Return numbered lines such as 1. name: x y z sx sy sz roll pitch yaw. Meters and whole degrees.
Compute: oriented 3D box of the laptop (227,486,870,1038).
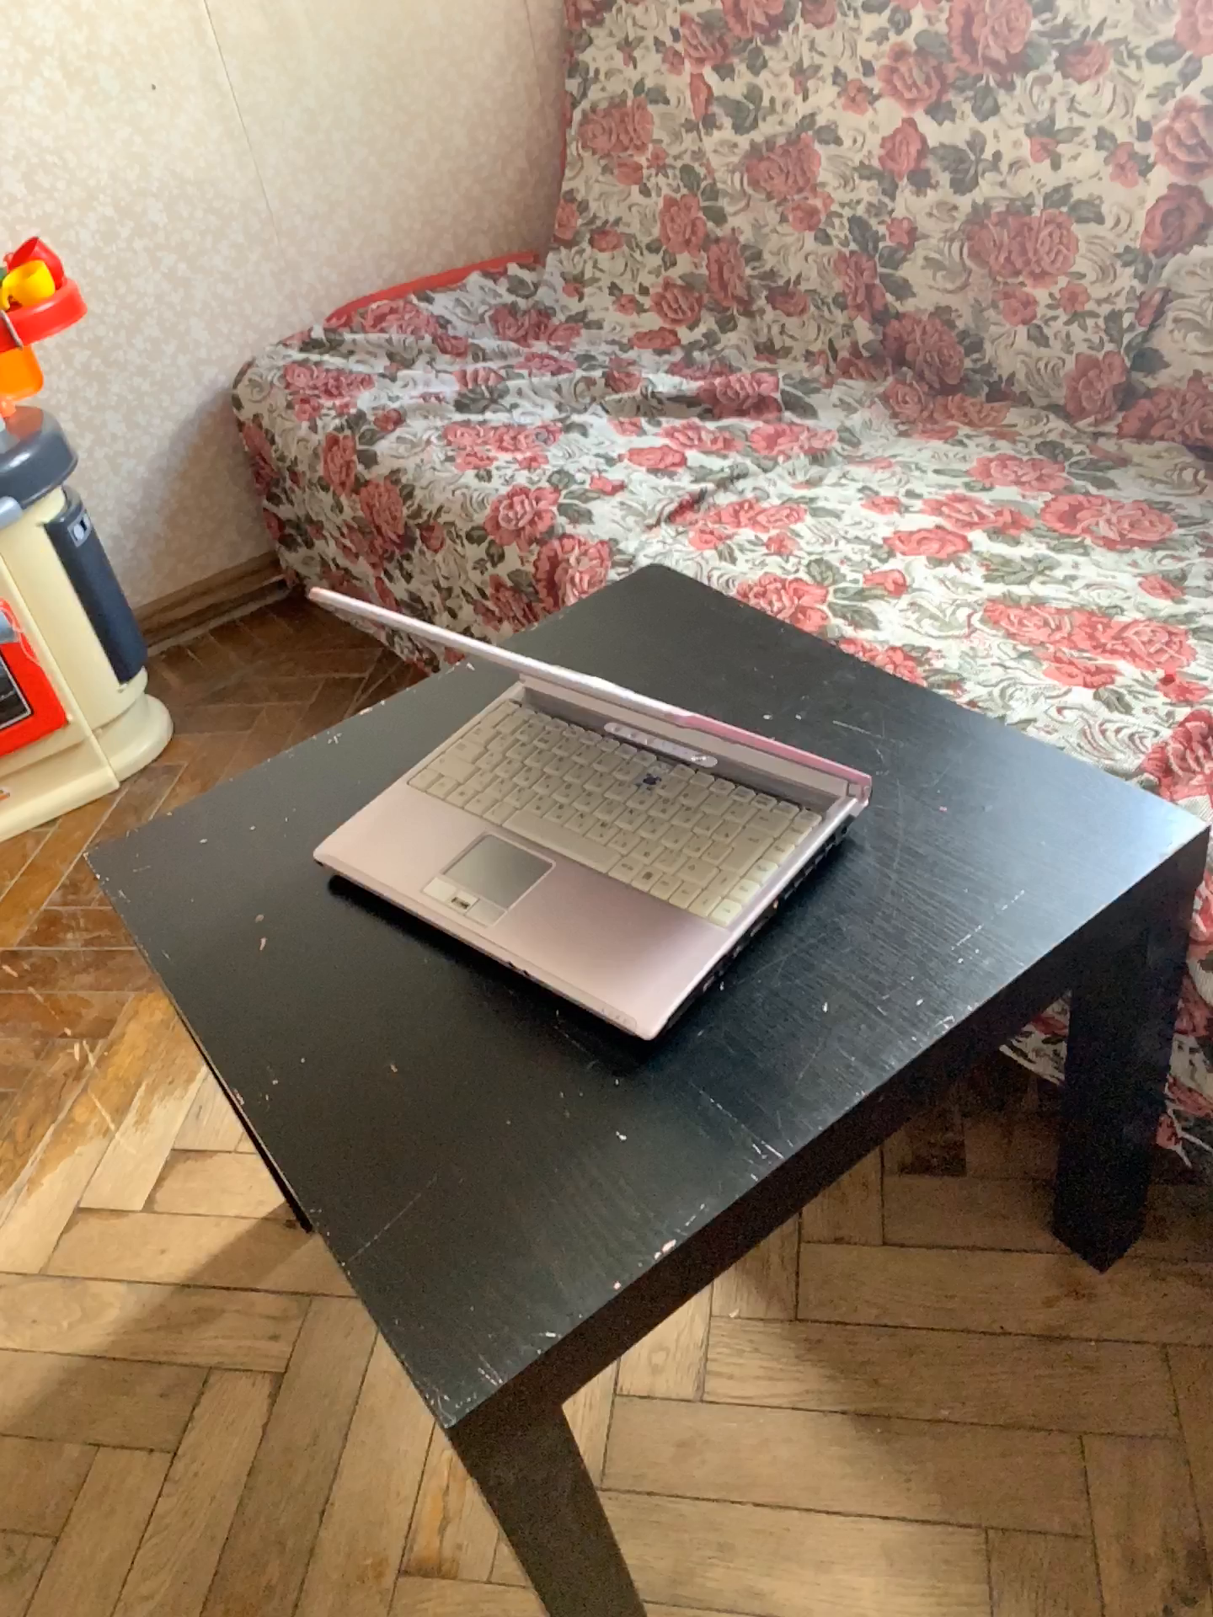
1. laptop: -0.032 -0.051 0.763 0.306 0.156 0.226 22 51 36
